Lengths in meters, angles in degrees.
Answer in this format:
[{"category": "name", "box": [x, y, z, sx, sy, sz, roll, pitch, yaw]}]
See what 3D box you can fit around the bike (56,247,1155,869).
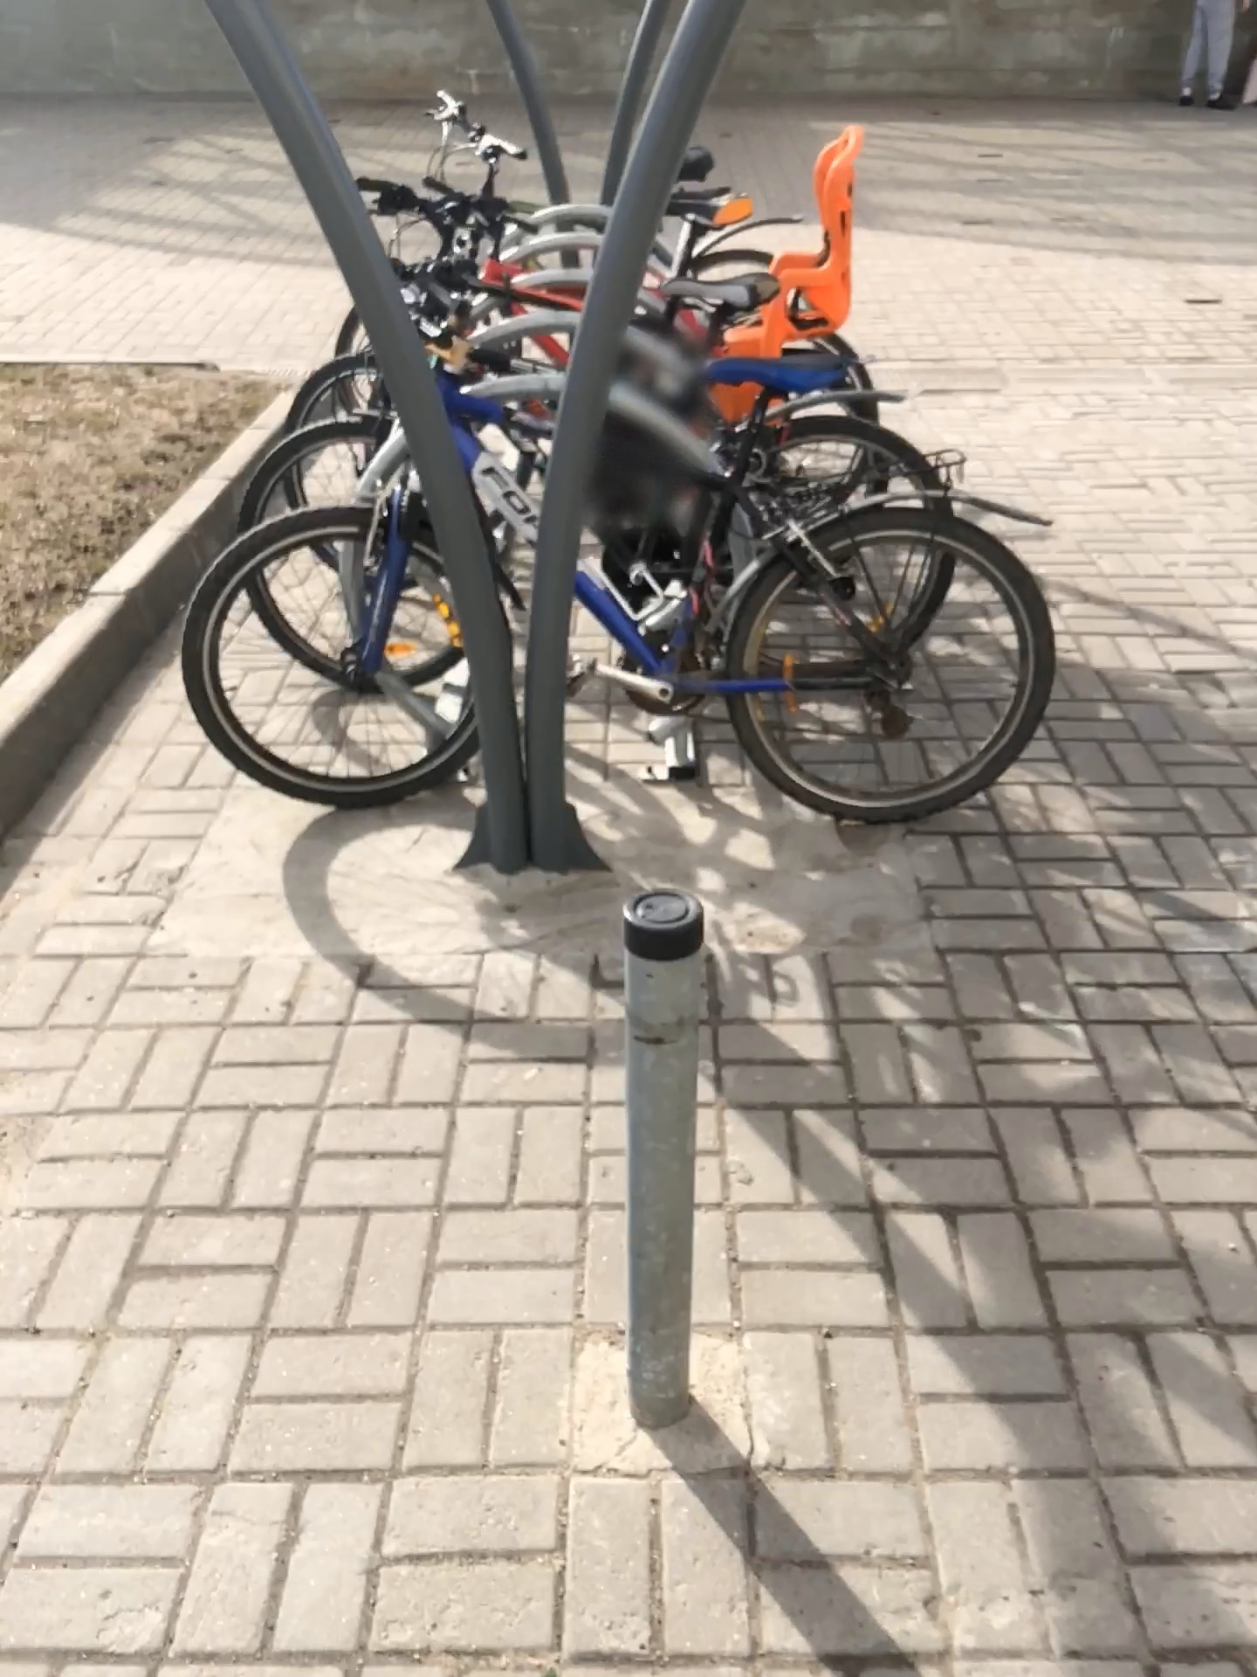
[{"category": "bike", "box": [0.001, -0.524, 2.603, 1.658, 0.959, 0.630, 1, 33, -1]}]
